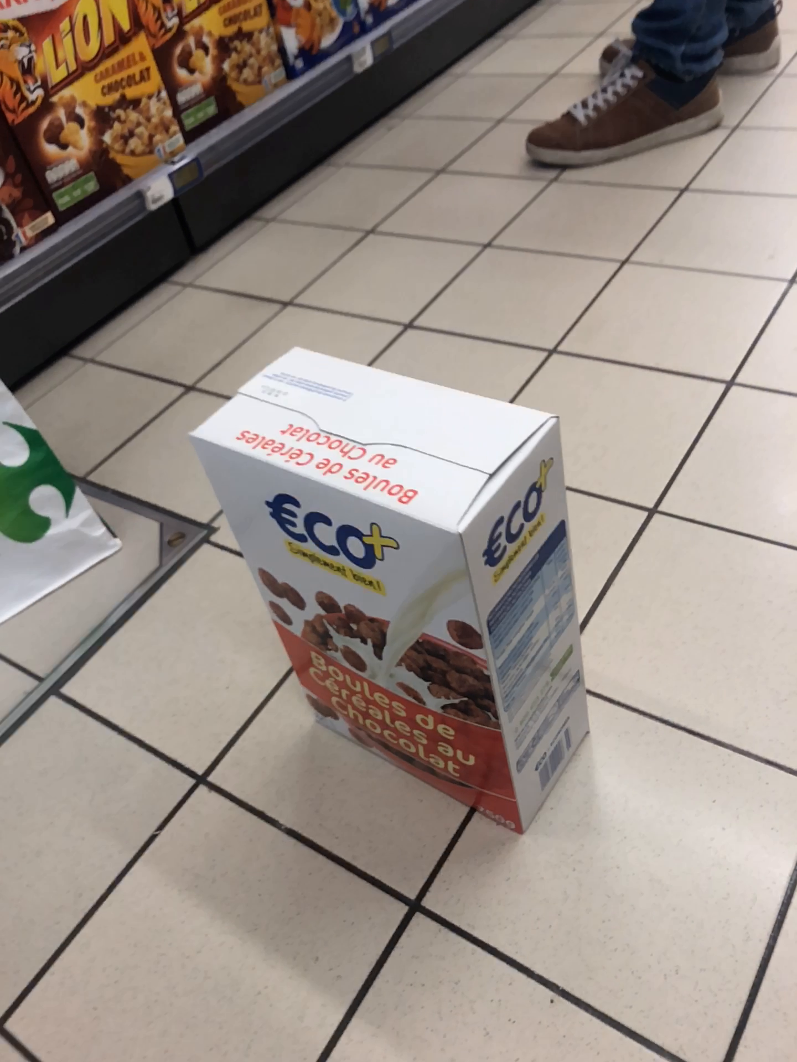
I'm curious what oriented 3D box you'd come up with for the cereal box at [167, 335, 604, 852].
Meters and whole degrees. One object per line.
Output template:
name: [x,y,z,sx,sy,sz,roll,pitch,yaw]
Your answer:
cereal box: [0.008,0.046,0.574,0.210,0.298,0.101,21,53,33]
